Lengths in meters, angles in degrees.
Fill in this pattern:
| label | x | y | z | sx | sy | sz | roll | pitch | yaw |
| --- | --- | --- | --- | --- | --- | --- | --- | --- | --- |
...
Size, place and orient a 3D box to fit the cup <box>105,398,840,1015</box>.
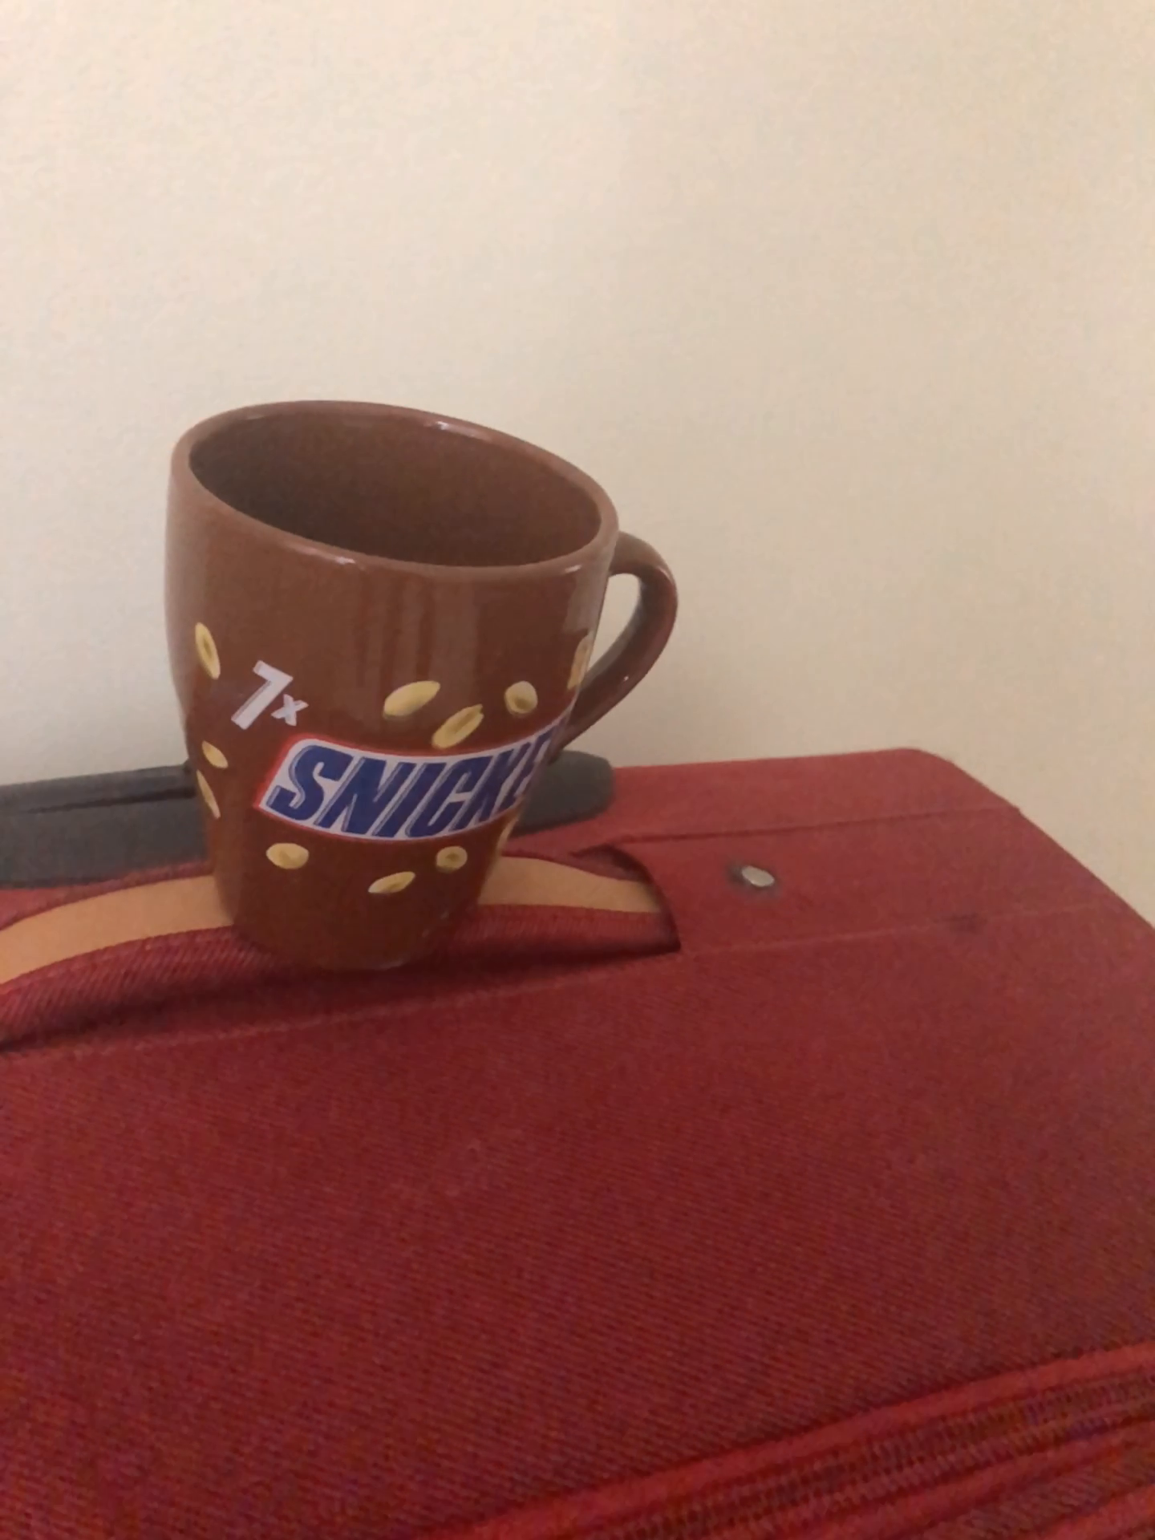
| label | x | y | z | sx | sy | sz | roll | pitch | yaw |
| --- | --- | --- | --- | --- | --- | --- | --- | --- | --- |
| cup | -0.027 | -0.021 | 0.263 | 0.115 | 0.080 | 0.088 | -8 | 37 | -26 |
